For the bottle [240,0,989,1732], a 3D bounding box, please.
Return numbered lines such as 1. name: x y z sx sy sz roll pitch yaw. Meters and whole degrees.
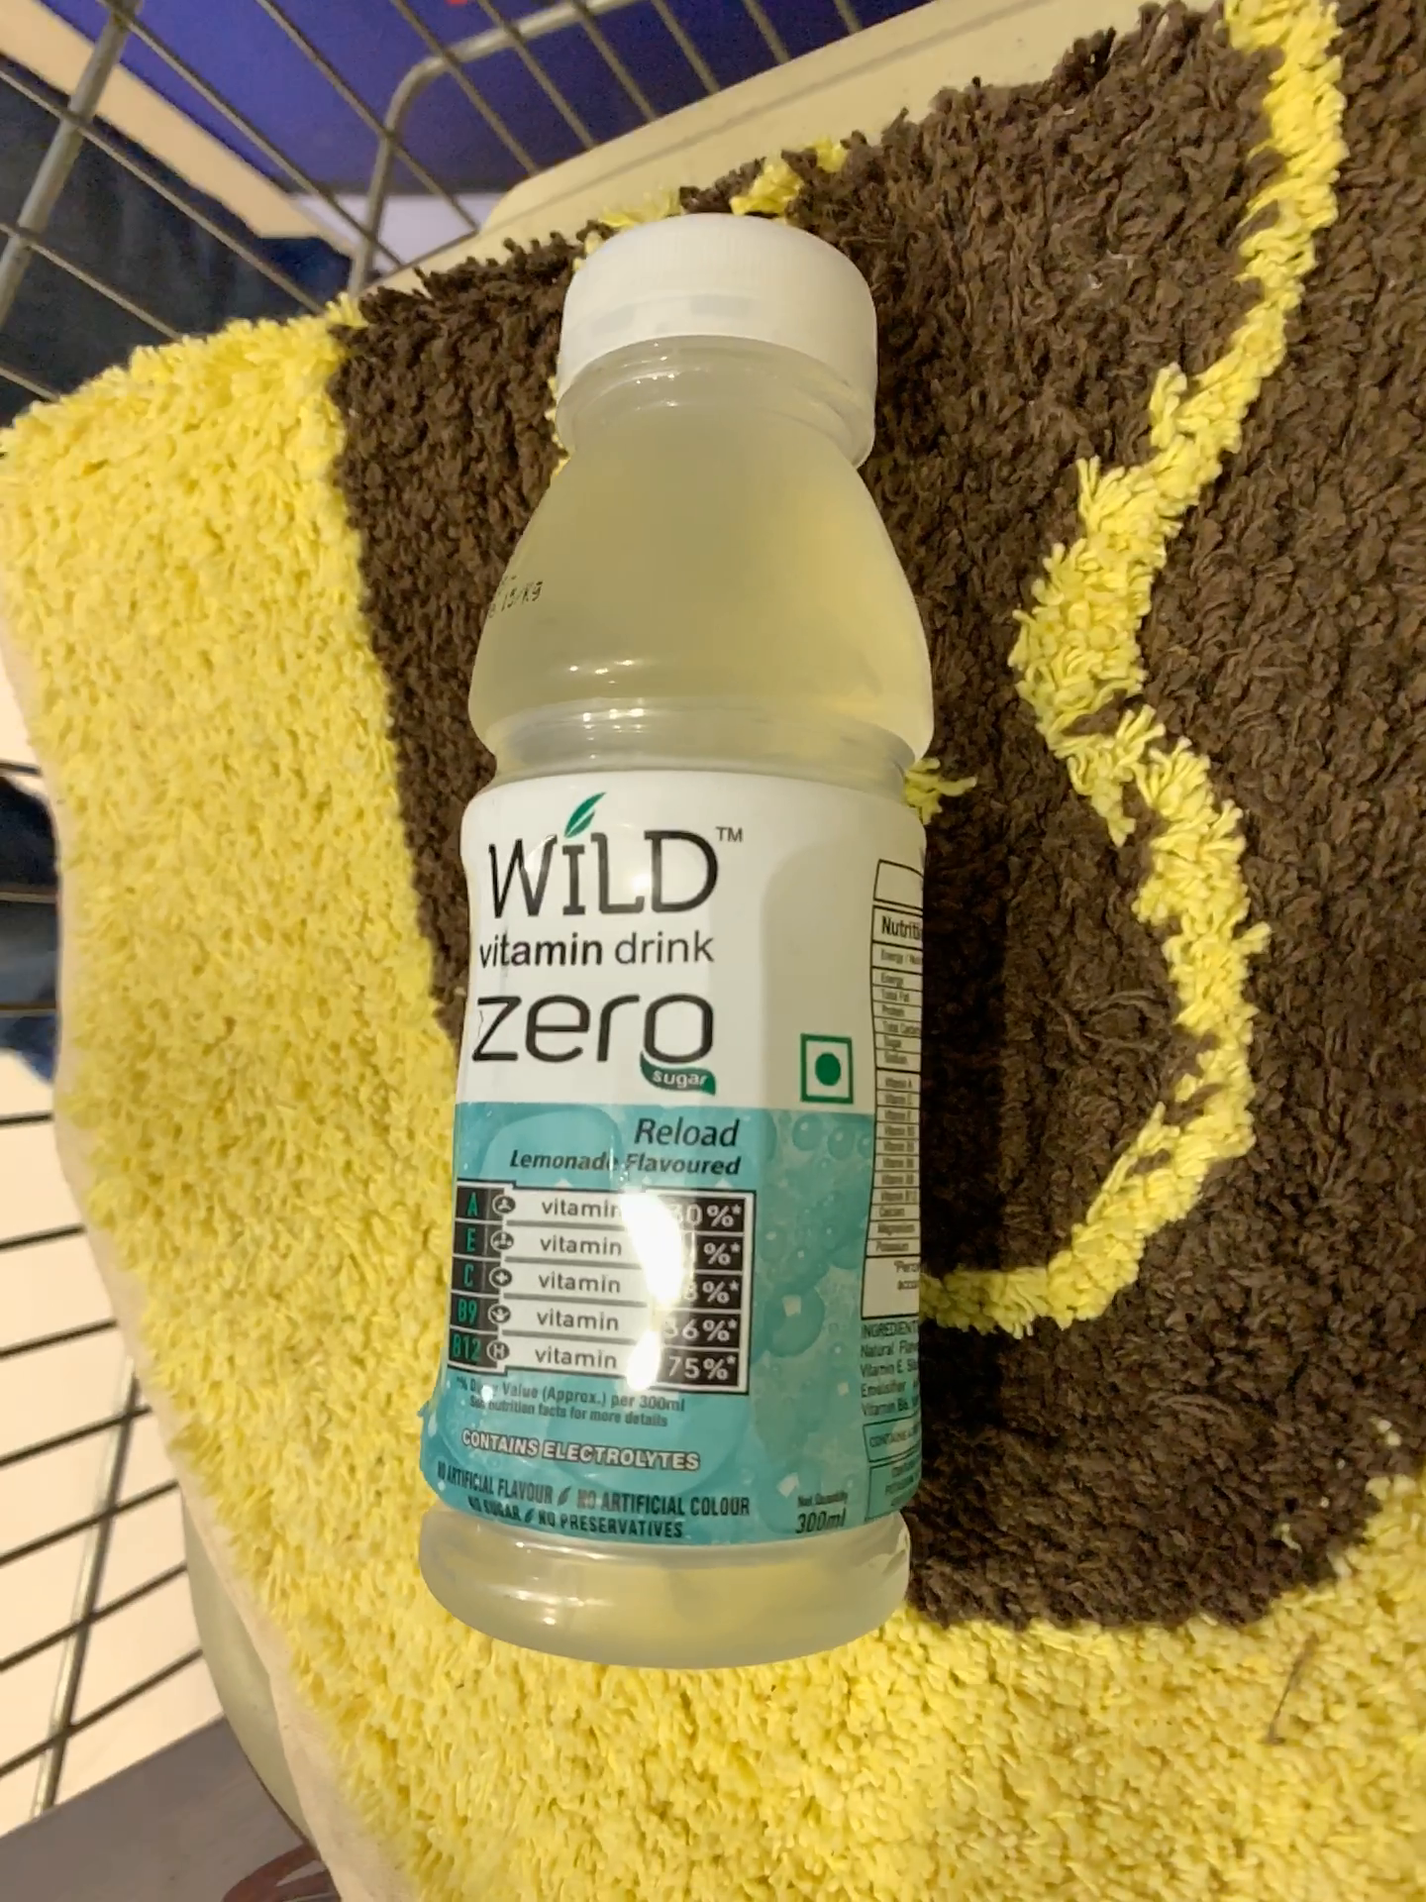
1. bottle: -0.008 -0.012 0.164 0.060 0.040 0.160 -1 80 30
